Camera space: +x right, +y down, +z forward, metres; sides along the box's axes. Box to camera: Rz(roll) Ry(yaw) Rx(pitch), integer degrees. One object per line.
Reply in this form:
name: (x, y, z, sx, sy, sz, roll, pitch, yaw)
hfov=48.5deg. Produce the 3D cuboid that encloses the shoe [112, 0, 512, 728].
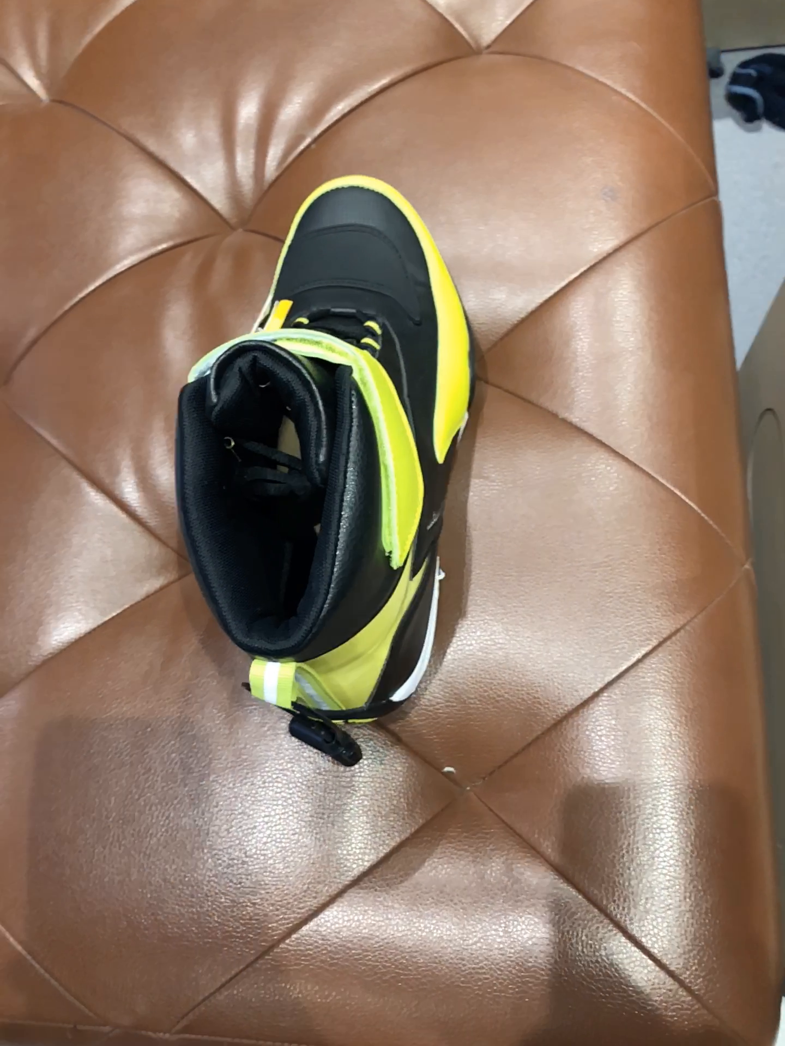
shoe: (-0.014, -0.060, 0.379, 0.116, 0.173, 0.274, -3, 71, 8)
